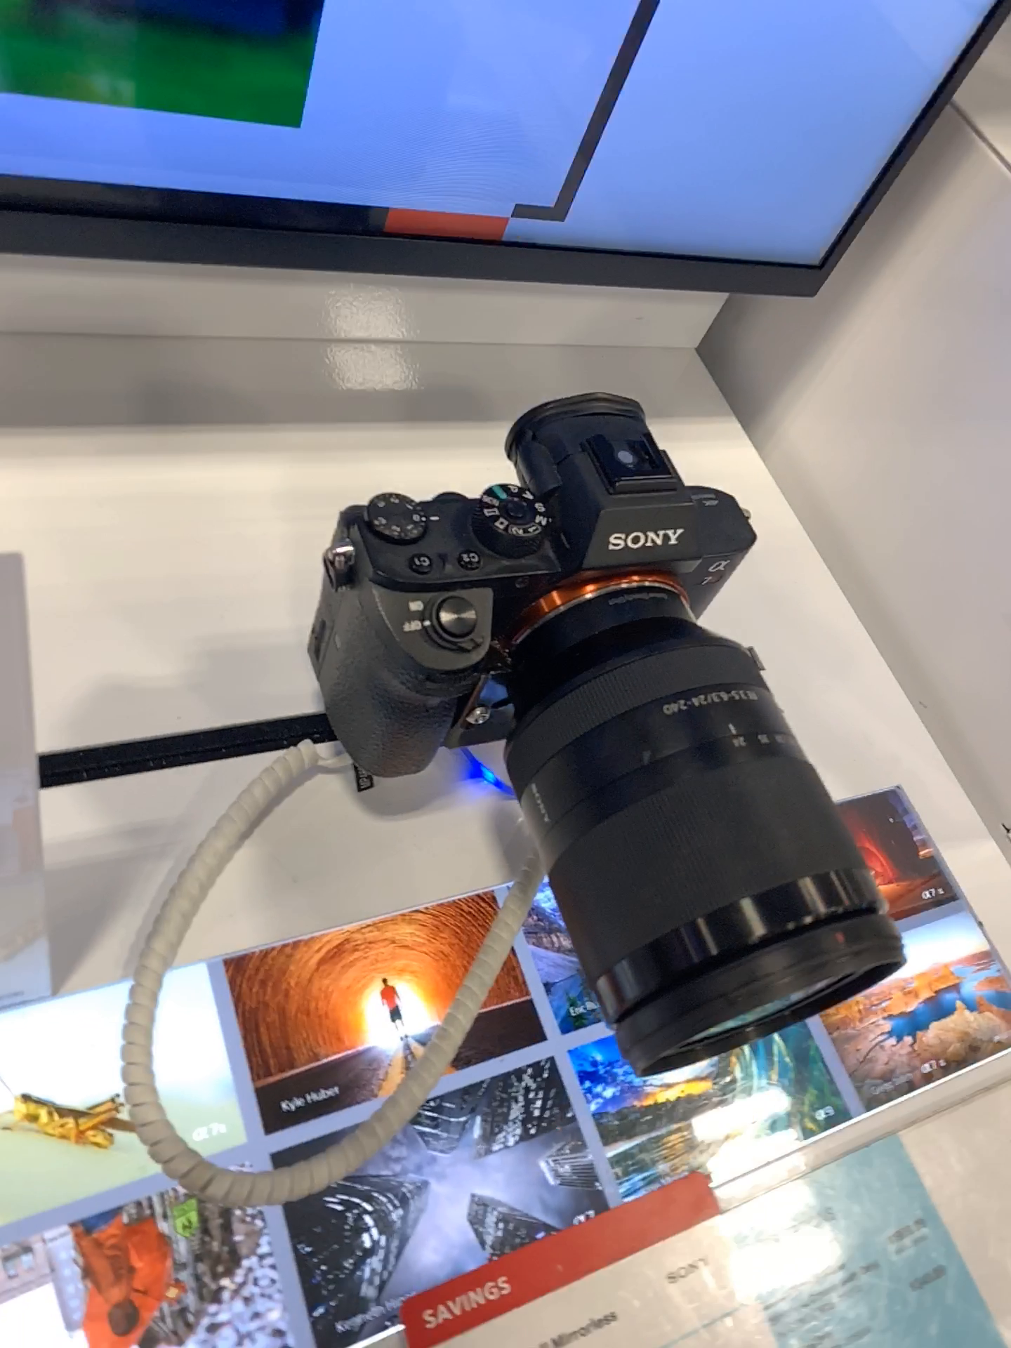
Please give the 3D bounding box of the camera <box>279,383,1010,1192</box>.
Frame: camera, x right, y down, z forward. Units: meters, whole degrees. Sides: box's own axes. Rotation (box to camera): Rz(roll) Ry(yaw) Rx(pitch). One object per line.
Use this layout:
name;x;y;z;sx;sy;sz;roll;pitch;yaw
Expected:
camera;0.031;0.021;0.285;0.130;0.100;0.173;-10;62;-27
